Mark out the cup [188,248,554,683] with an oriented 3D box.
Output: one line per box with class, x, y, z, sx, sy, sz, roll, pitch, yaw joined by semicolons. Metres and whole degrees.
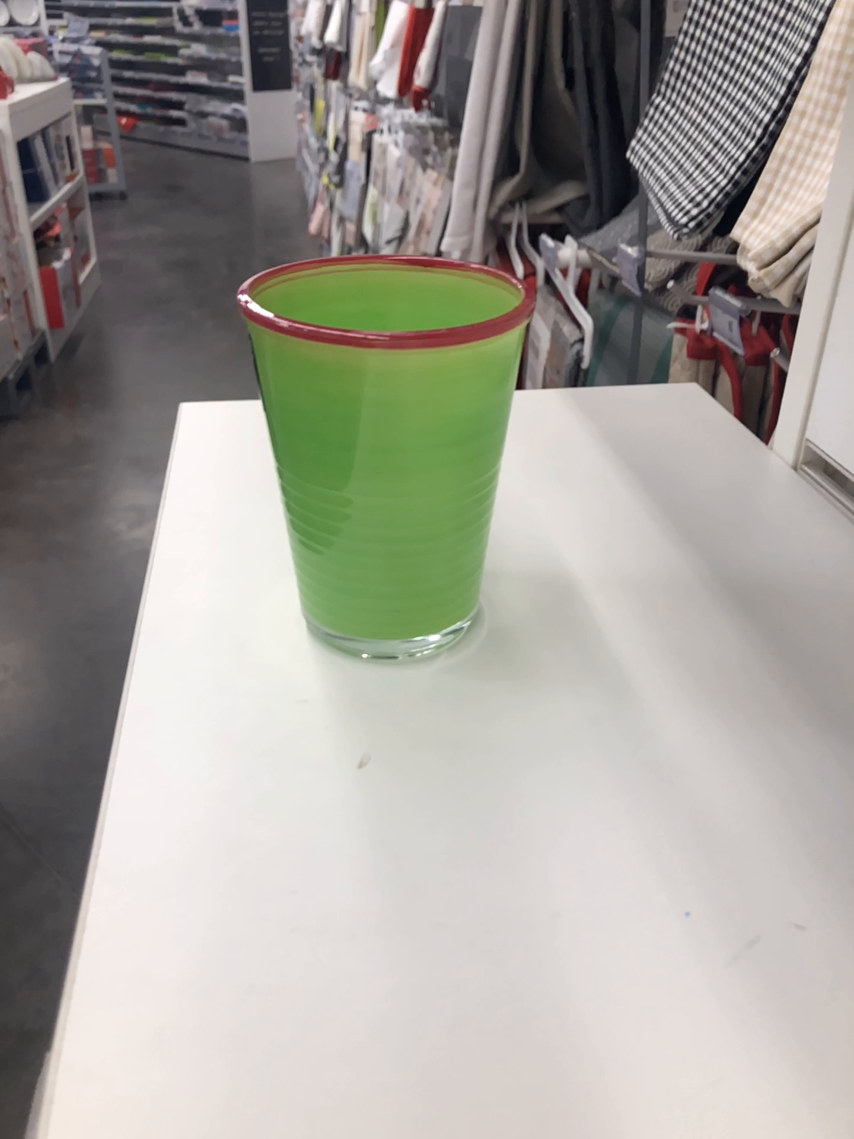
cup;-0.014;-0.033;0.273;0.082;0.098;0.087;1;29;-1
